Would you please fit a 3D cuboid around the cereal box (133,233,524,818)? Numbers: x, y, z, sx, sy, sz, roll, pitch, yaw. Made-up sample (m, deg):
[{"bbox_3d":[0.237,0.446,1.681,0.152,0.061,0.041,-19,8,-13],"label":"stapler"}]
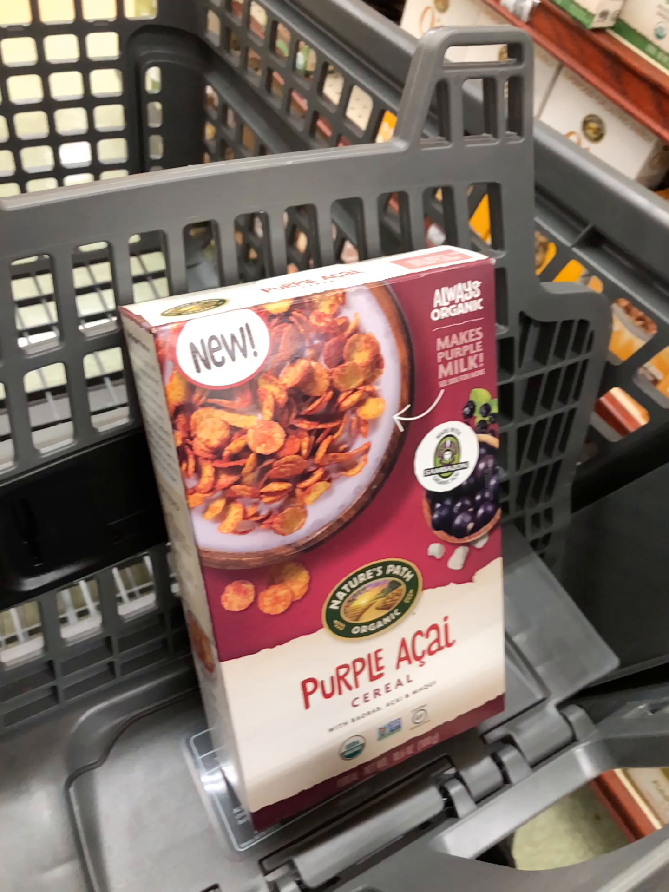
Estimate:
[{"bbox_3d":[0.008,0.037,0.397,0.170,0.270,0.070,-14,23,-23],"label":"cereal box"}]
